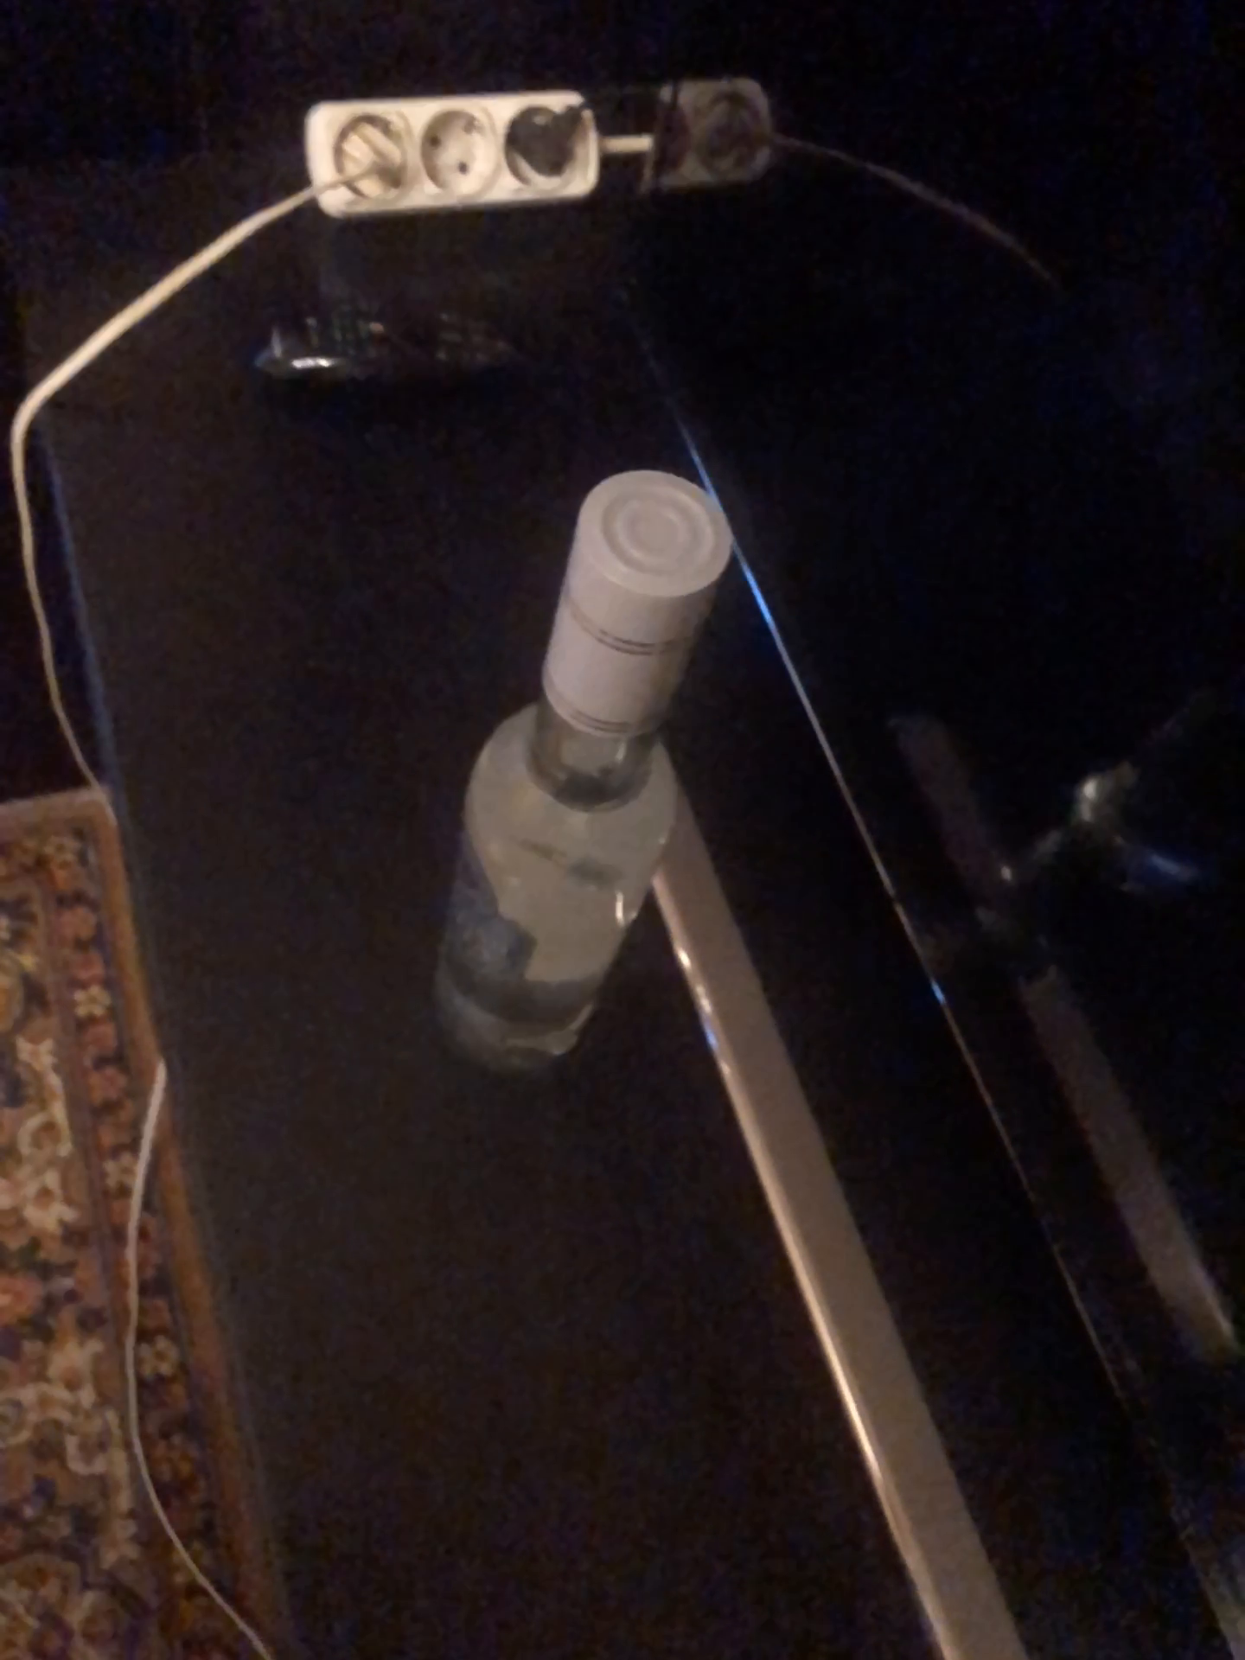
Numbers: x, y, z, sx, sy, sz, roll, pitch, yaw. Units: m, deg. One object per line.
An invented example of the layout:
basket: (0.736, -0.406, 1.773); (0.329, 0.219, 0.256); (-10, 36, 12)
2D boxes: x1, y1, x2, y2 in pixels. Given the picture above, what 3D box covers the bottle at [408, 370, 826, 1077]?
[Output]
bottle: (-0.021, -0.006, 0.427); (0.067, 0.290, 0.064); (5, 61, -9)
